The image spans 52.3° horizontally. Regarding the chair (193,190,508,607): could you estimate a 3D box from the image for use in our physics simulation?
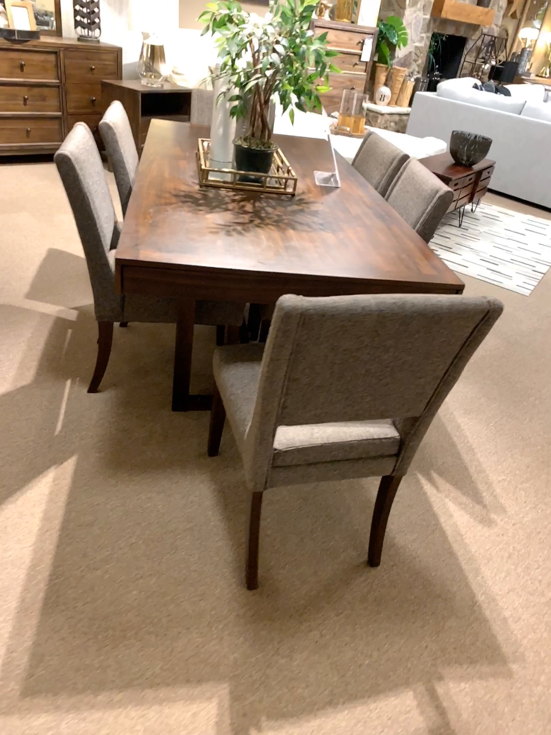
[{"bbox_3d":[0.087,0.063,1.515,0.479,0.863,0.633,-2,34,-17],"label":"chair"}]

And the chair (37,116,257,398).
[{"bbox_3d":[-0.463,-0.383,2.073,0.630,0.863,0.482,2,33,-12],"label":"chair"}]
